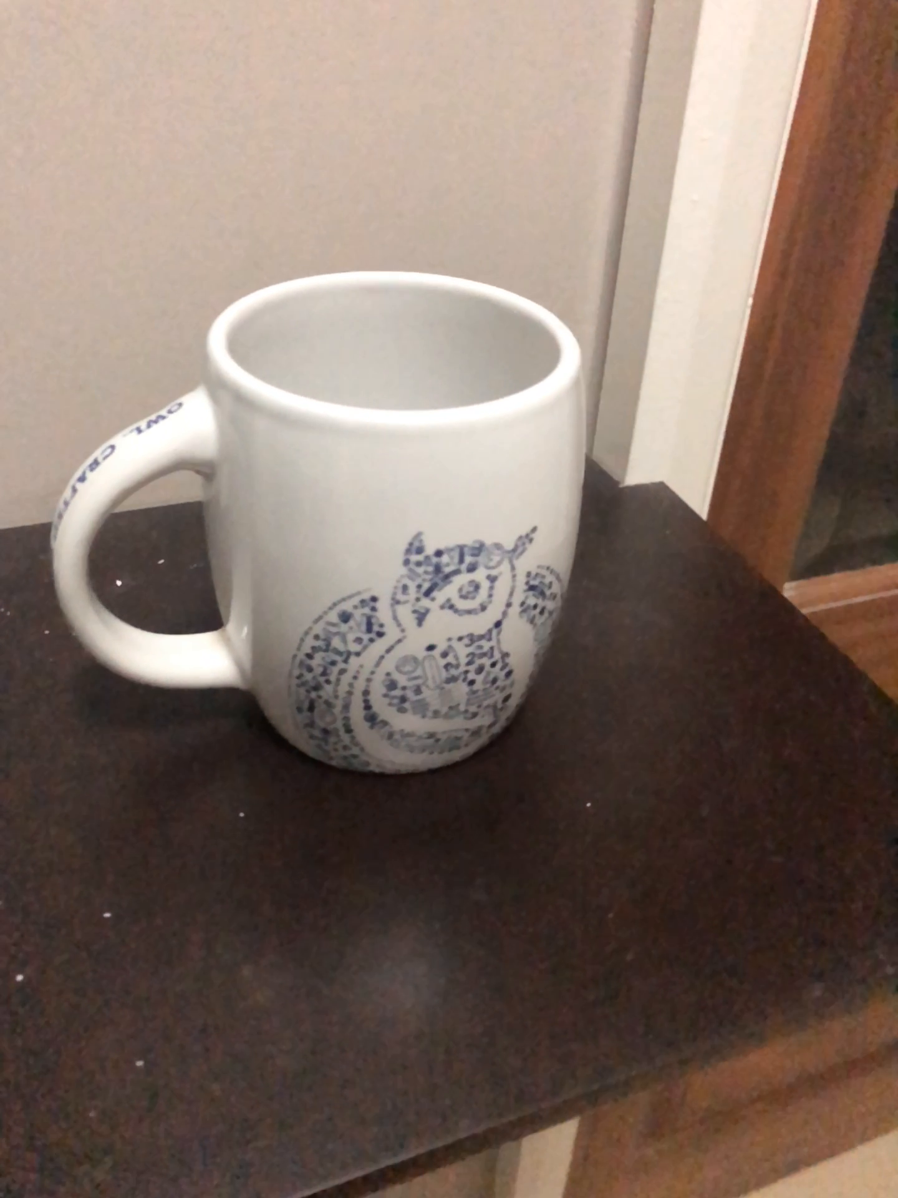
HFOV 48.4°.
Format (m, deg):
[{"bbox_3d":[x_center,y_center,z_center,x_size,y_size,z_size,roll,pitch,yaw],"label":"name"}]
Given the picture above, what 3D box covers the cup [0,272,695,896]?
[{"bbox_3d":[-0.035,-0.015,0.222,0.130,0.079,0.101,-9,35,-17],"label":"cup"}]
